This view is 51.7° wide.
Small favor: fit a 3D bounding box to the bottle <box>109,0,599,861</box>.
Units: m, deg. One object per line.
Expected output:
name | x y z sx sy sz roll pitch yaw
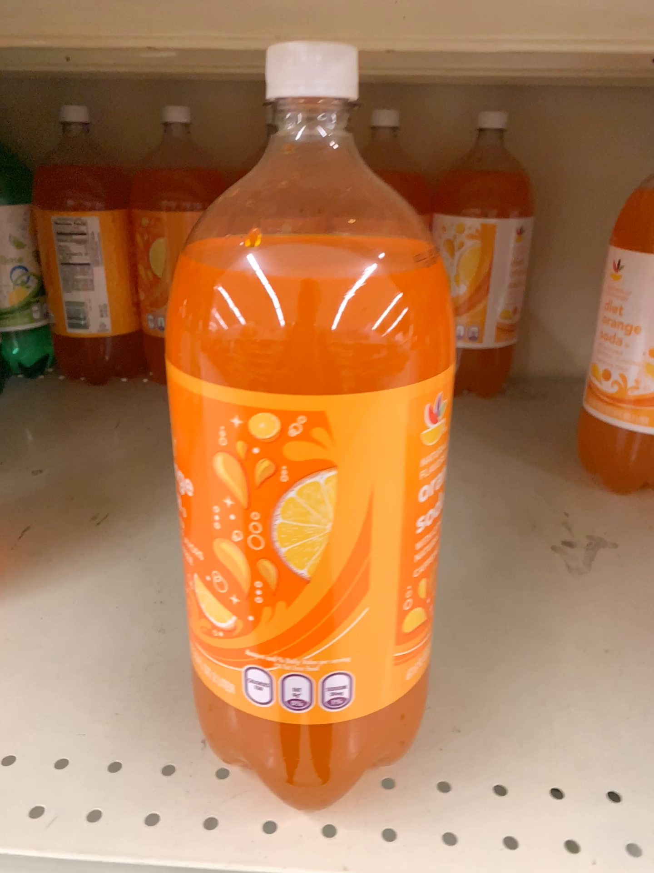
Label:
bottle | -0.001 0.005 0.275 0.120 0.288 0.110 1 24 0
